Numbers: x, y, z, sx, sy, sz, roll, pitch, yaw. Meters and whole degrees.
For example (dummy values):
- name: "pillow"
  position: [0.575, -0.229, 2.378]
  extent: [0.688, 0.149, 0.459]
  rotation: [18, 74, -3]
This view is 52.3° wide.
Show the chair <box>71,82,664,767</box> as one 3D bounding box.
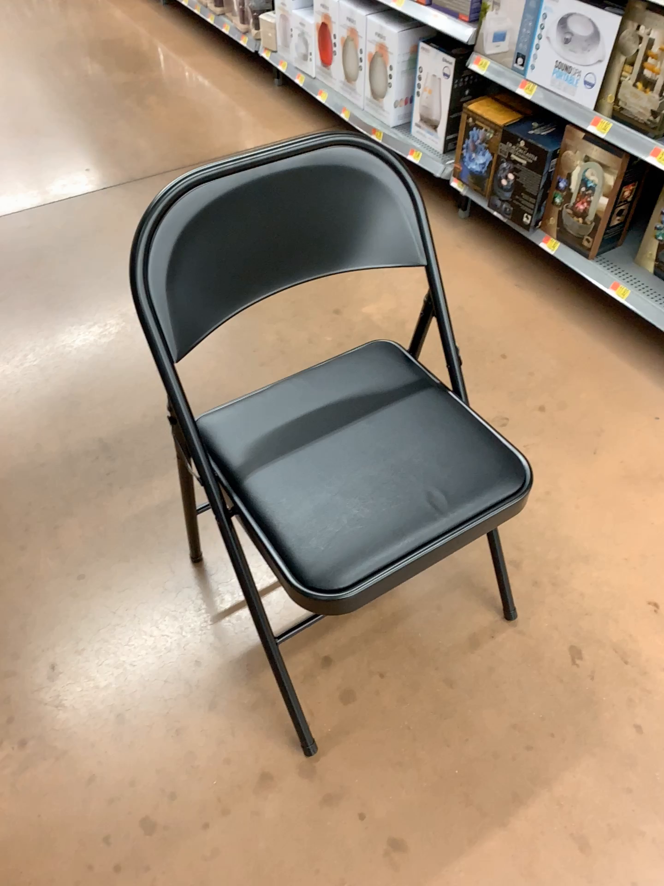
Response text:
- name: "chair"
  position: [0.042, -0.003, 0.940]
  extent: [0.470, 0.697, 0.471]
  rotation: [-25, 53, -21]
